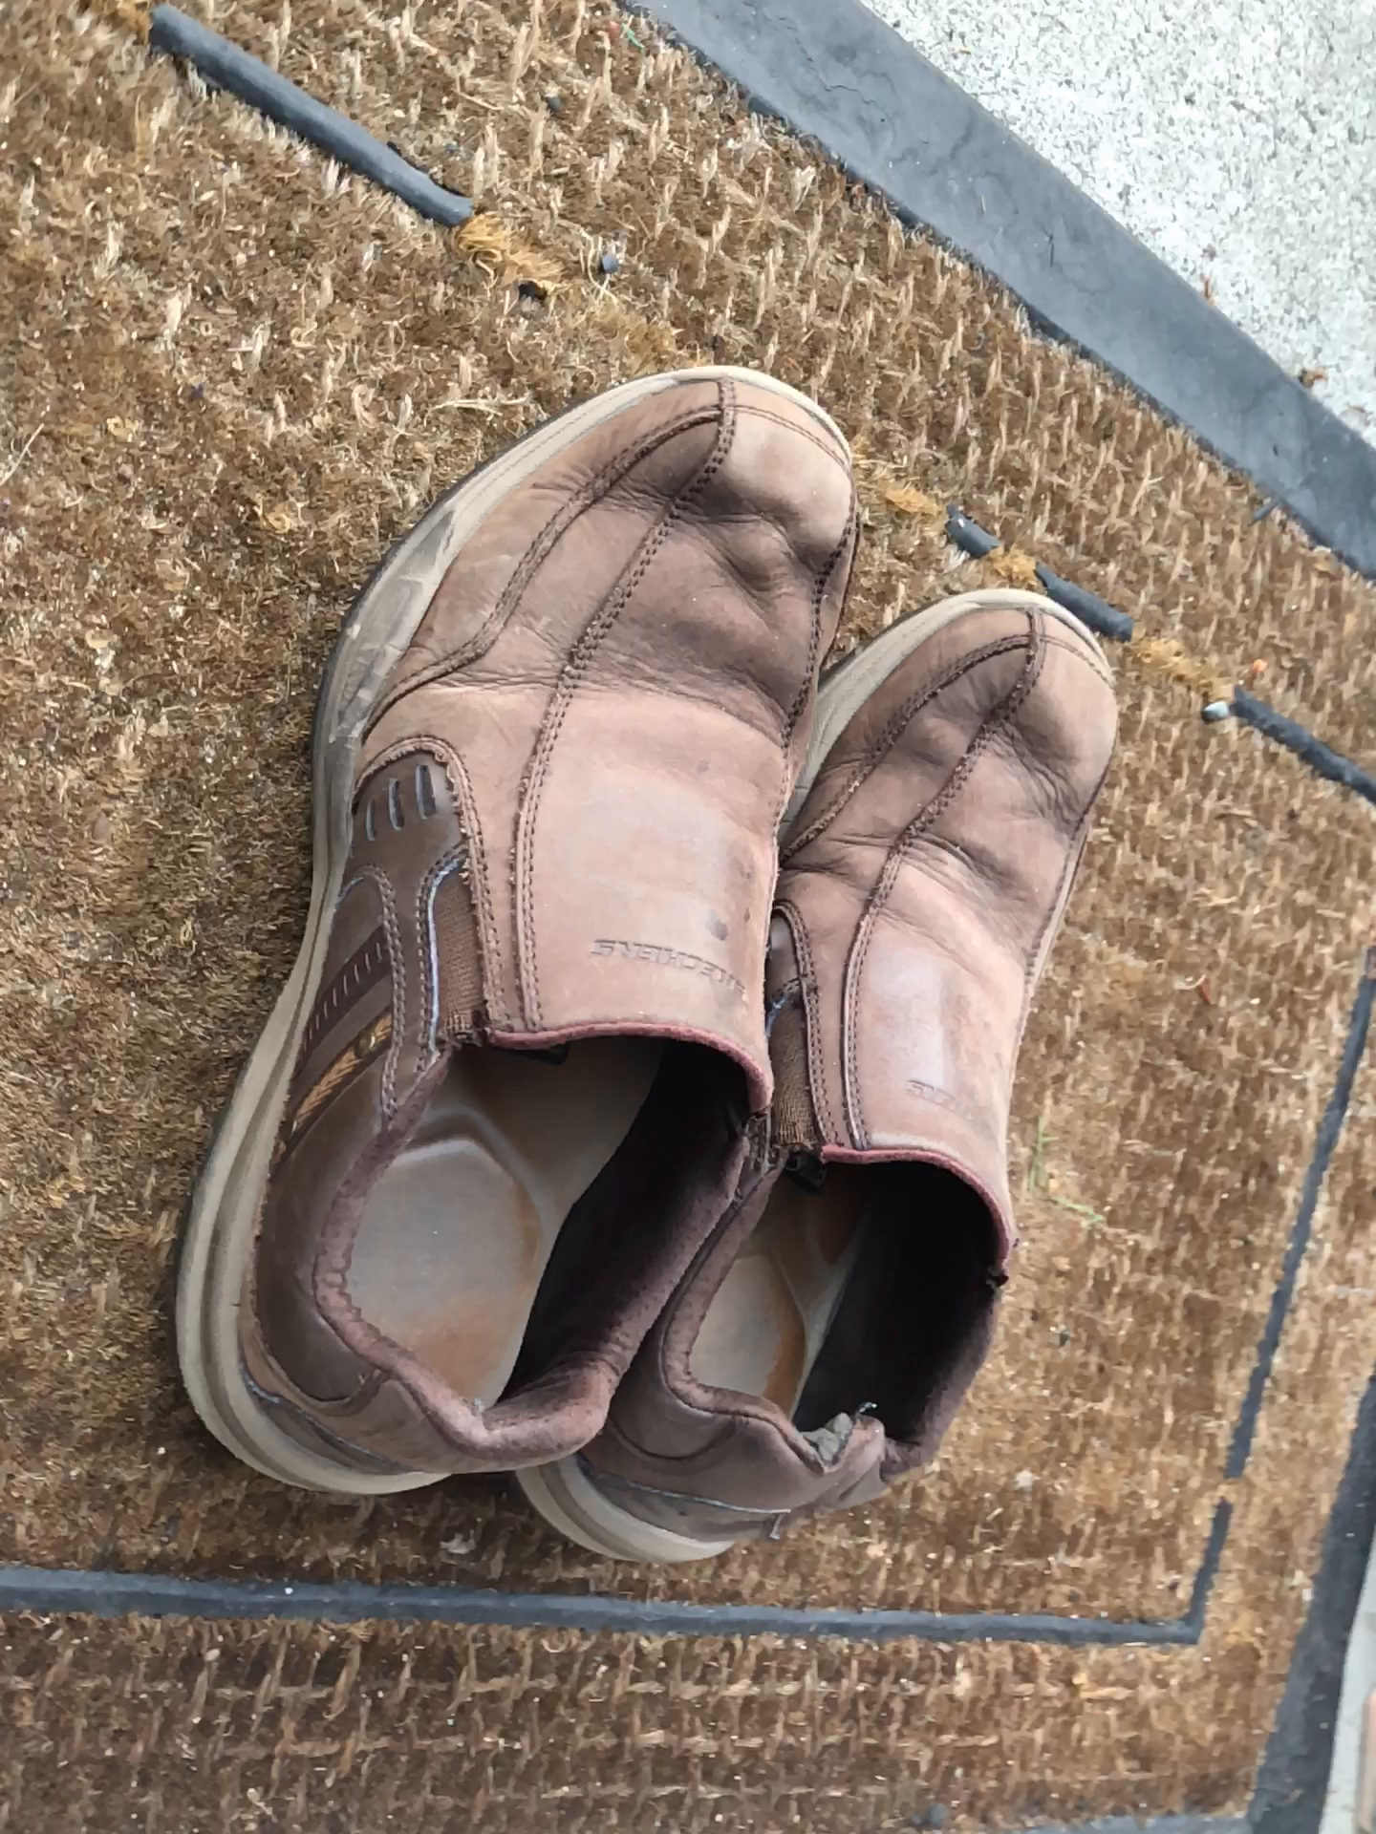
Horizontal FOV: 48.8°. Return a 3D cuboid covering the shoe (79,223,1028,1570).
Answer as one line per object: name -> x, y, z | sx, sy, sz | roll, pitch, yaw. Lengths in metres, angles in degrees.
shoe -> -0.032, -0.004, 0.360 | 0.100, 0.100, 0.267 | 25, 83, -34

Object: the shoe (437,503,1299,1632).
shoe -> 0.049, 0.034, 0.402 | 0.100, 0.100, 0.254 | 29, 81, -33
